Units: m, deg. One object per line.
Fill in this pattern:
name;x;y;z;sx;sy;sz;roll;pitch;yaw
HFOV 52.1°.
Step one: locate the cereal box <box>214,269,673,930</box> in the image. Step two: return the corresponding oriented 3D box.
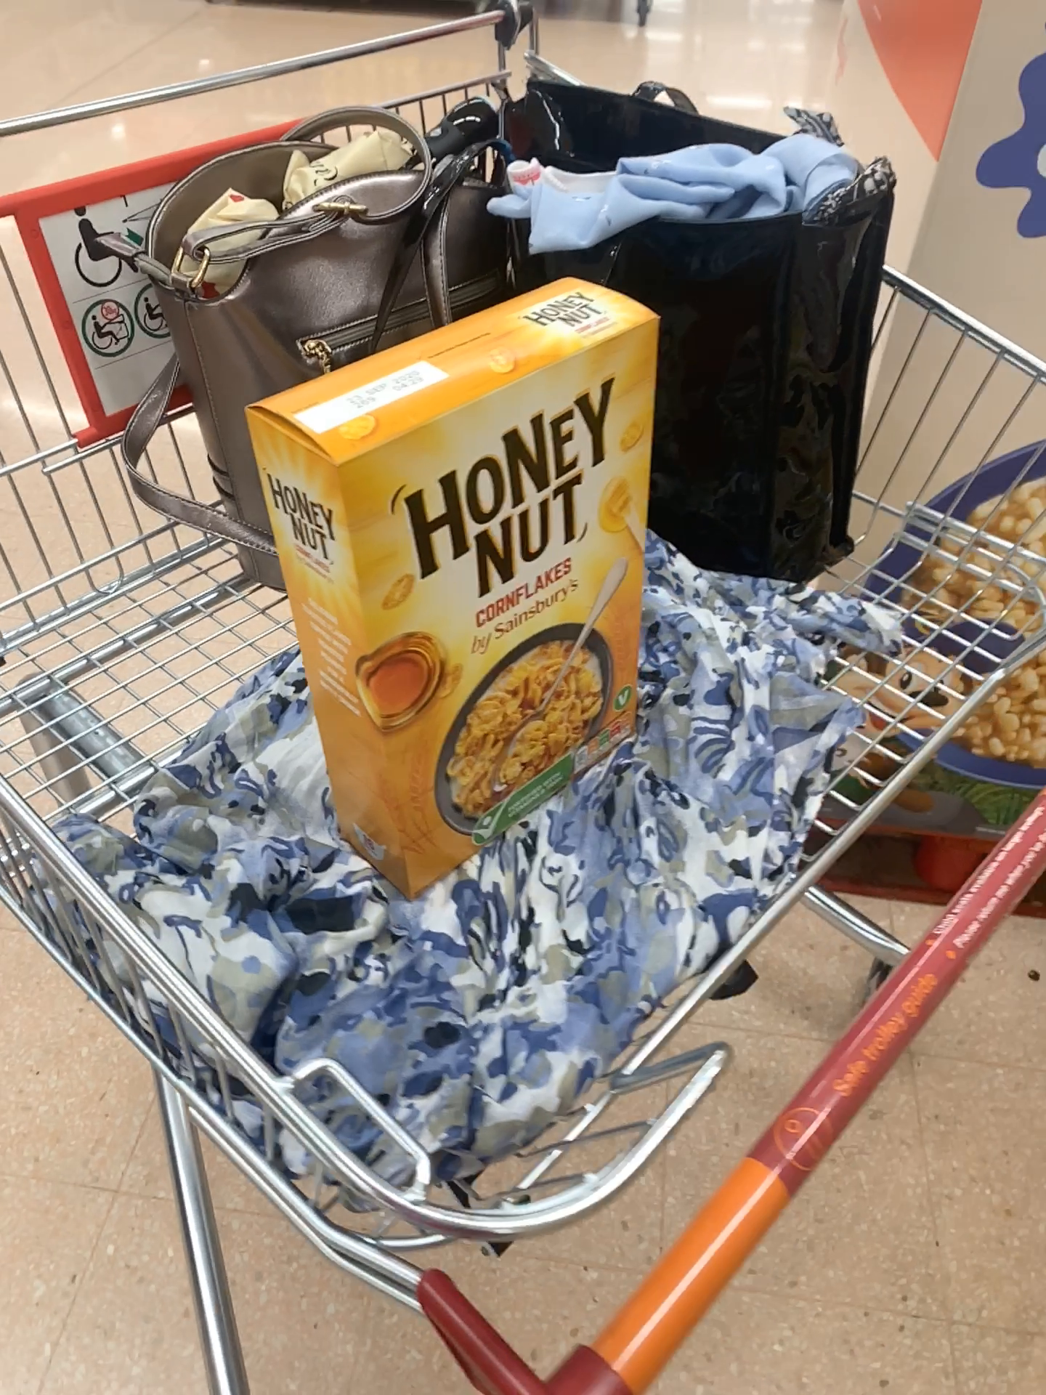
cereal box;-0.026;-0.047;0.591;0.211;0.297;0.080;-34;50;-31
